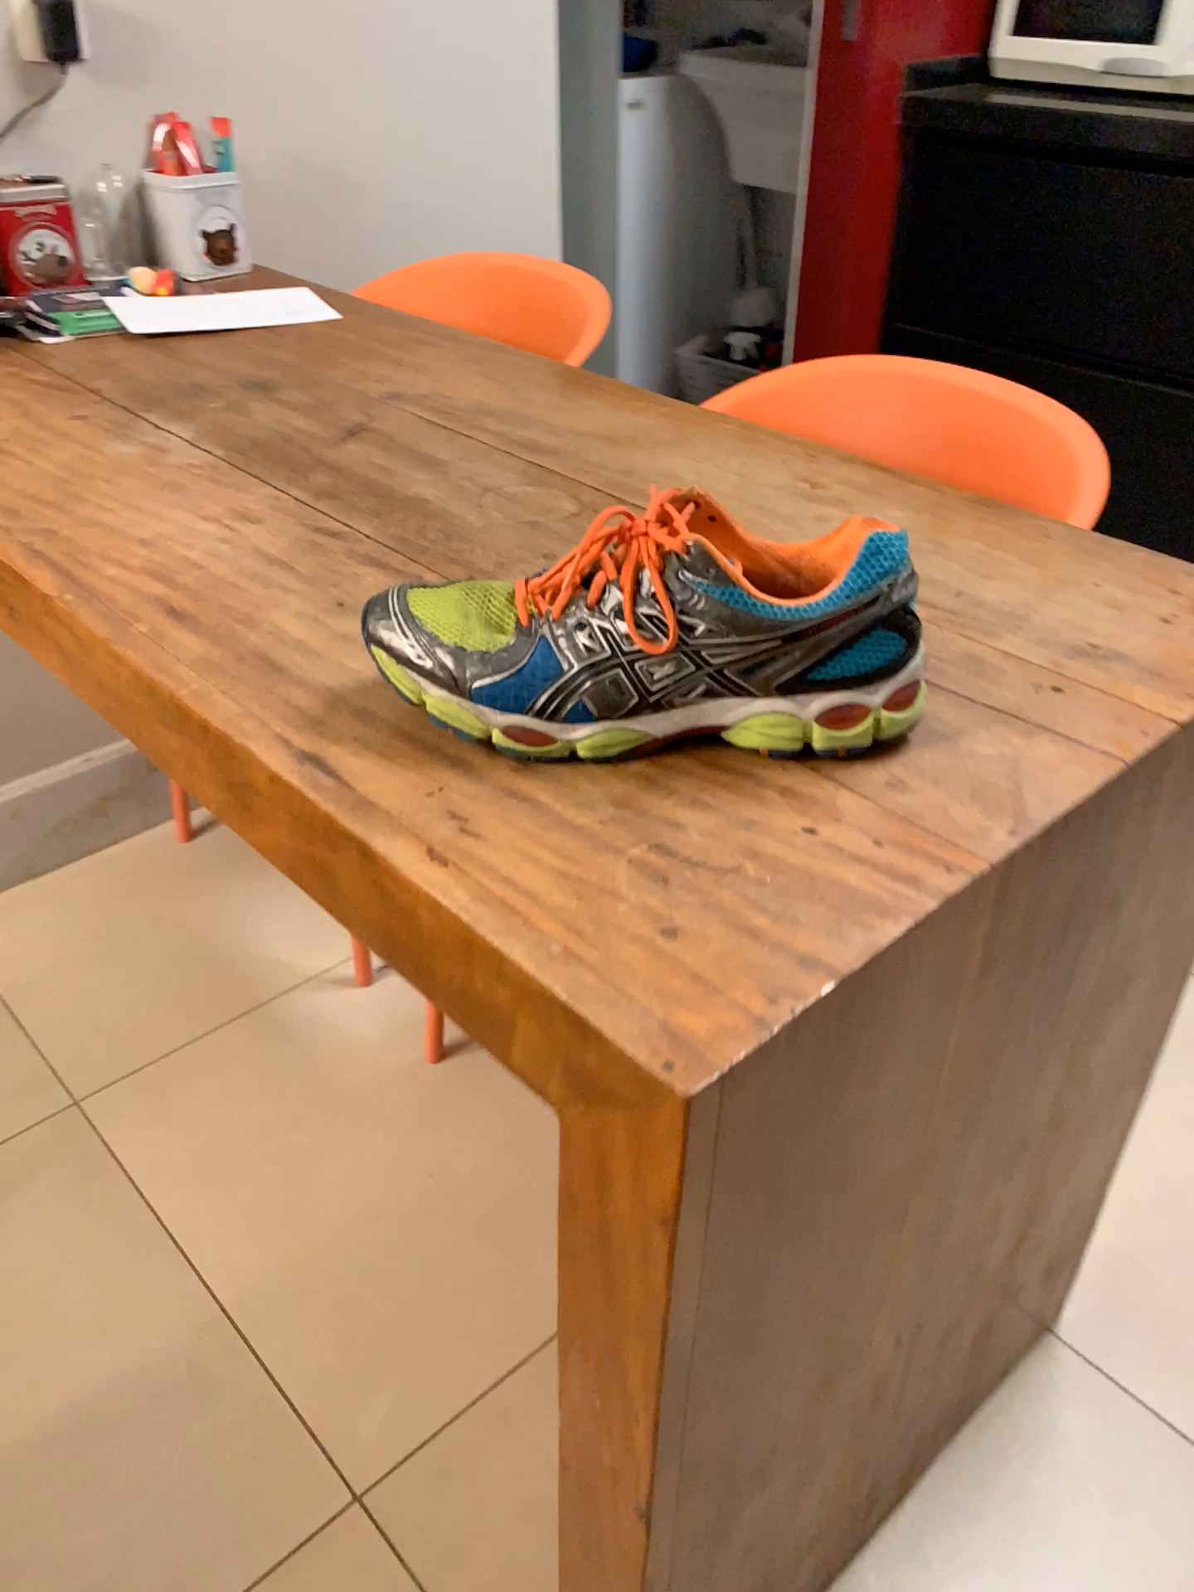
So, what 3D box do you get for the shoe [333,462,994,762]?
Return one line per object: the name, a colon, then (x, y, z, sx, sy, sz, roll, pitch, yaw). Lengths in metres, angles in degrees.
shoe: (0.030, -0.098, 0.638, 0.301, 0.109, 0.126, 0, 35, 0)
